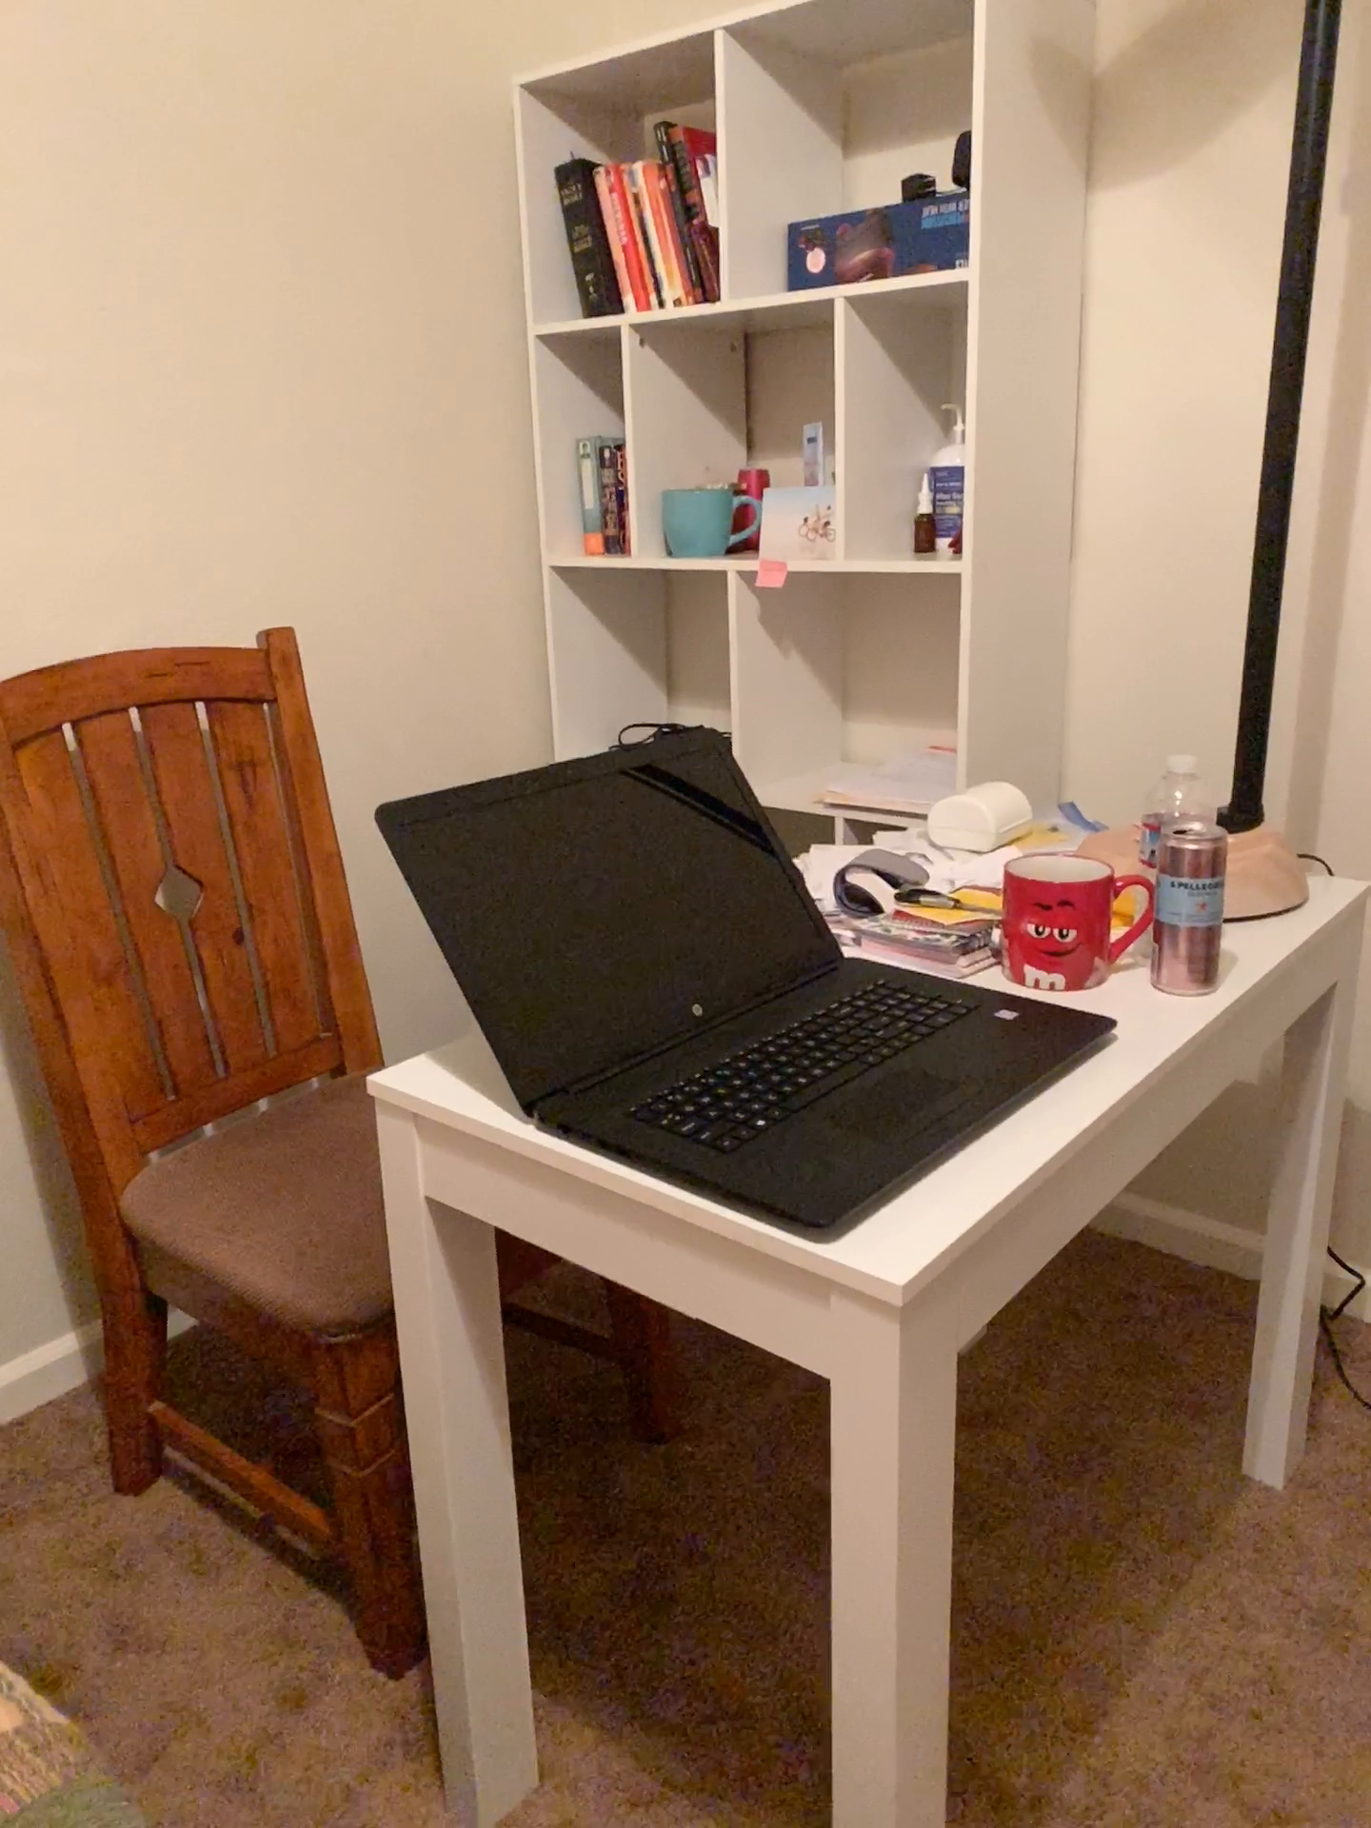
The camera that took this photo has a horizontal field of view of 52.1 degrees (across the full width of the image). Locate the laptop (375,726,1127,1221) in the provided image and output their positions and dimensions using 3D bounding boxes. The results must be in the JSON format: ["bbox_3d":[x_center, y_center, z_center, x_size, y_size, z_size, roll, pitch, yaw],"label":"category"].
[{"bbox_3d":[0.056,0.003,1.099,0.416,0.197,0.401,14,23,39],"label":"laptop"}]
